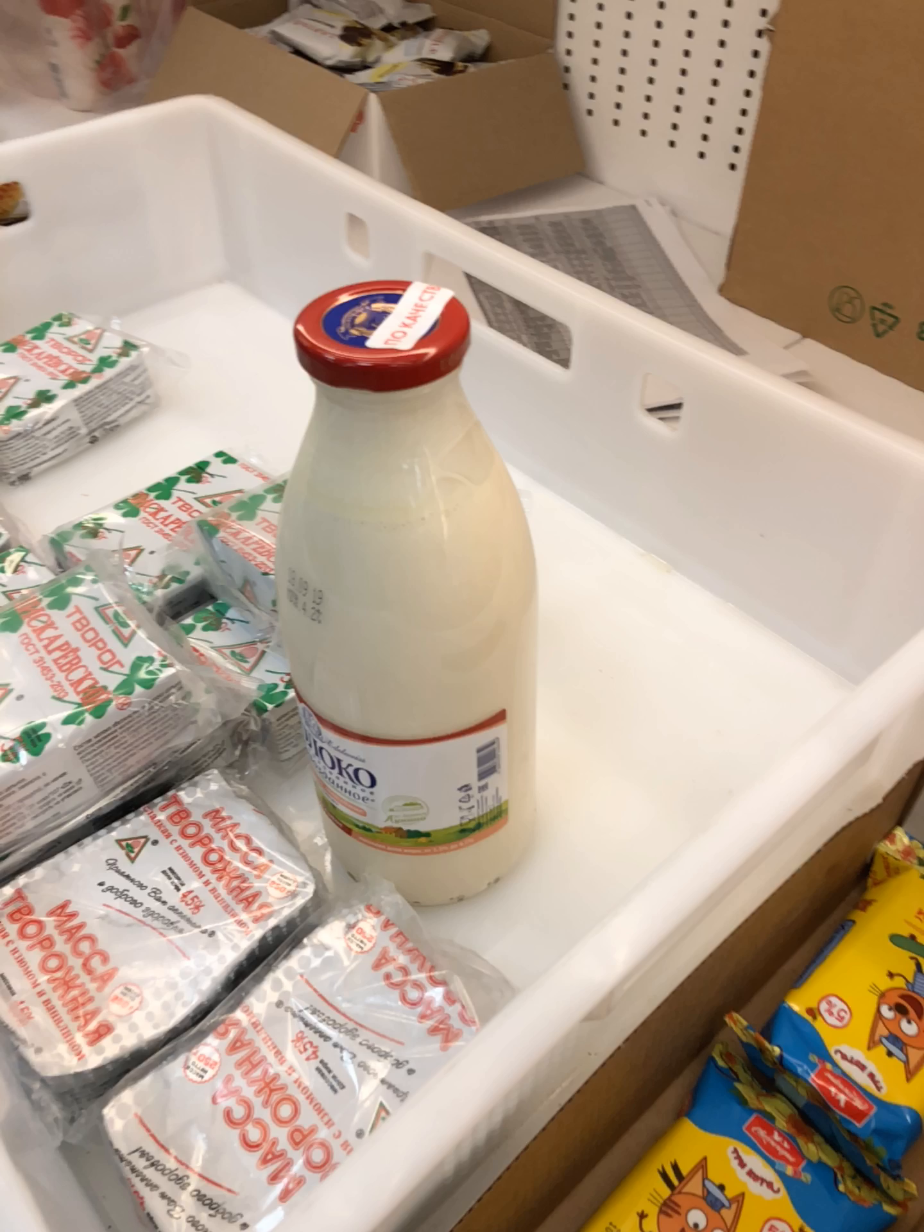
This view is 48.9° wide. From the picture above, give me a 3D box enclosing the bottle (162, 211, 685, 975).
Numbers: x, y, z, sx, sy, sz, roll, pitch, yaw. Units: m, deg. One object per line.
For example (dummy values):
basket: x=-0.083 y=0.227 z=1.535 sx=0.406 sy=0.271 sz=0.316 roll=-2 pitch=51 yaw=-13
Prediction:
bottle: x=-0.012 y=0.003 z=0.318 sx=0.090 sy=0.209 sz=0.090 roll=0 pitch=45 yaw=0
